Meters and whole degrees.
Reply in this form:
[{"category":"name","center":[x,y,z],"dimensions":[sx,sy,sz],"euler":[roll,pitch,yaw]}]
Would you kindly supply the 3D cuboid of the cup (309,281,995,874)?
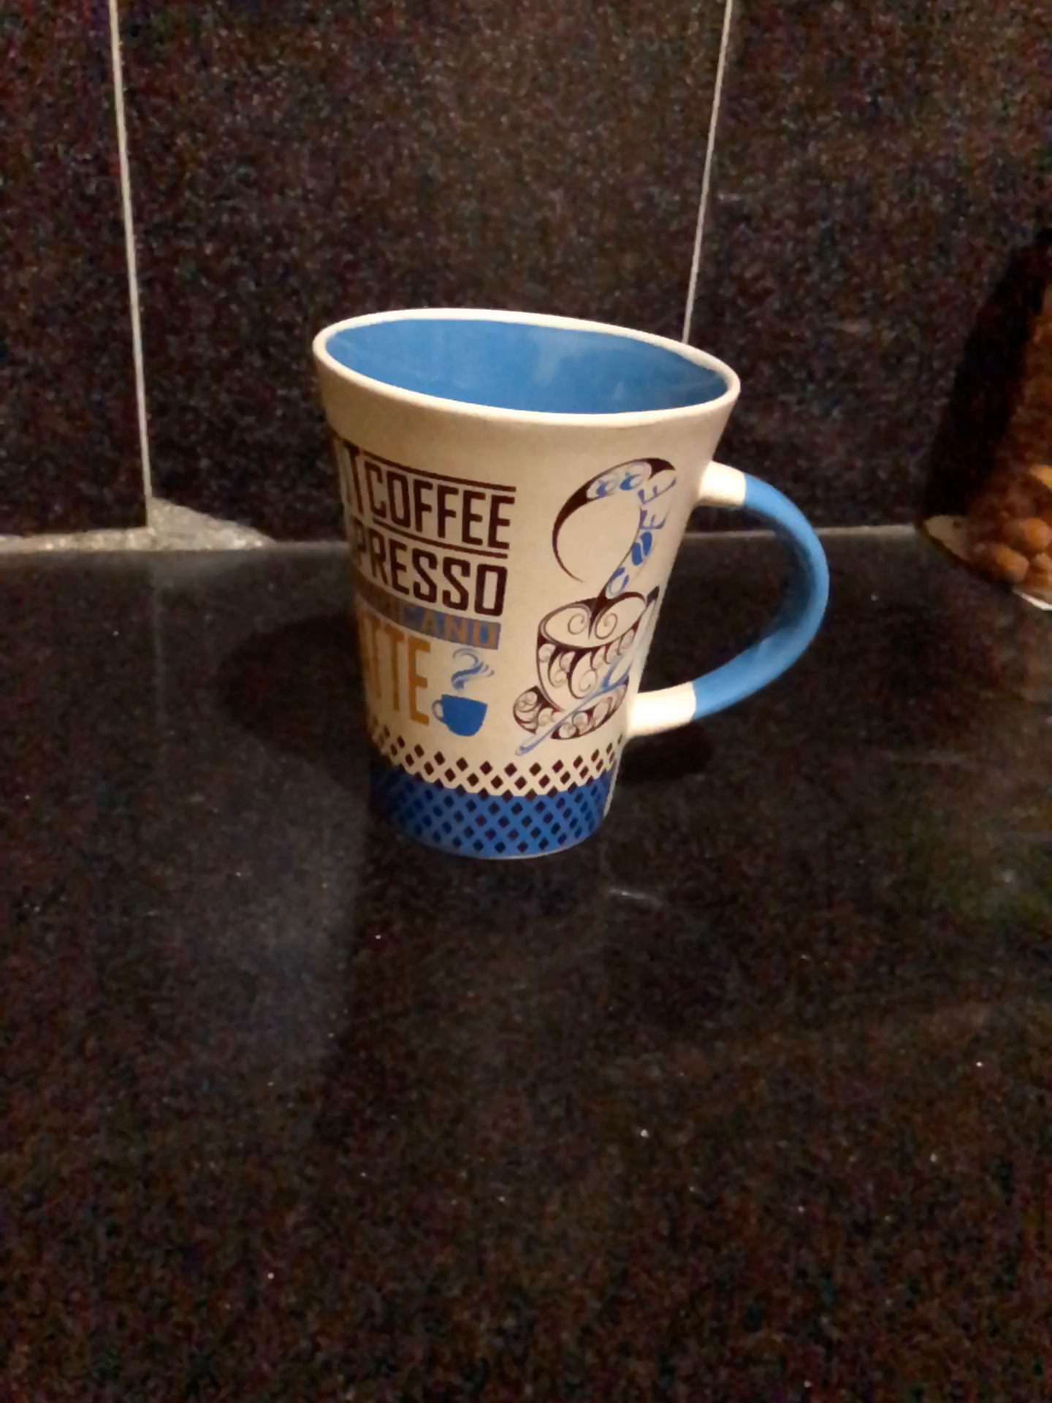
[{"category":"cup","center":[0.017,-0.031,0.282],"dimensions":[0.130,0.109,0.091],"euler":[2,28,-7]}]
